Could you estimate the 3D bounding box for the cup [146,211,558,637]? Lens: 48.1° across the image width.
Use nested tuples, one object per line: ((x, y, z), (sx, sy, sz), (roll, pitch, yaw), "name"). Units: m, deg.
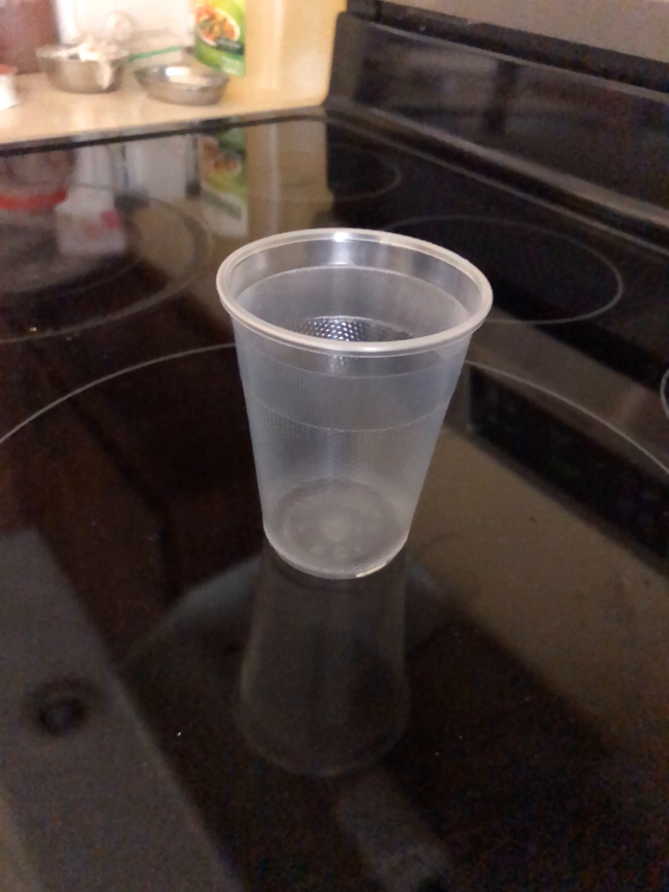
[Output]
((0.000, -0.013, 0.222), (0.081, 0.081, 0.079), (3, 36, -2), "cup")
